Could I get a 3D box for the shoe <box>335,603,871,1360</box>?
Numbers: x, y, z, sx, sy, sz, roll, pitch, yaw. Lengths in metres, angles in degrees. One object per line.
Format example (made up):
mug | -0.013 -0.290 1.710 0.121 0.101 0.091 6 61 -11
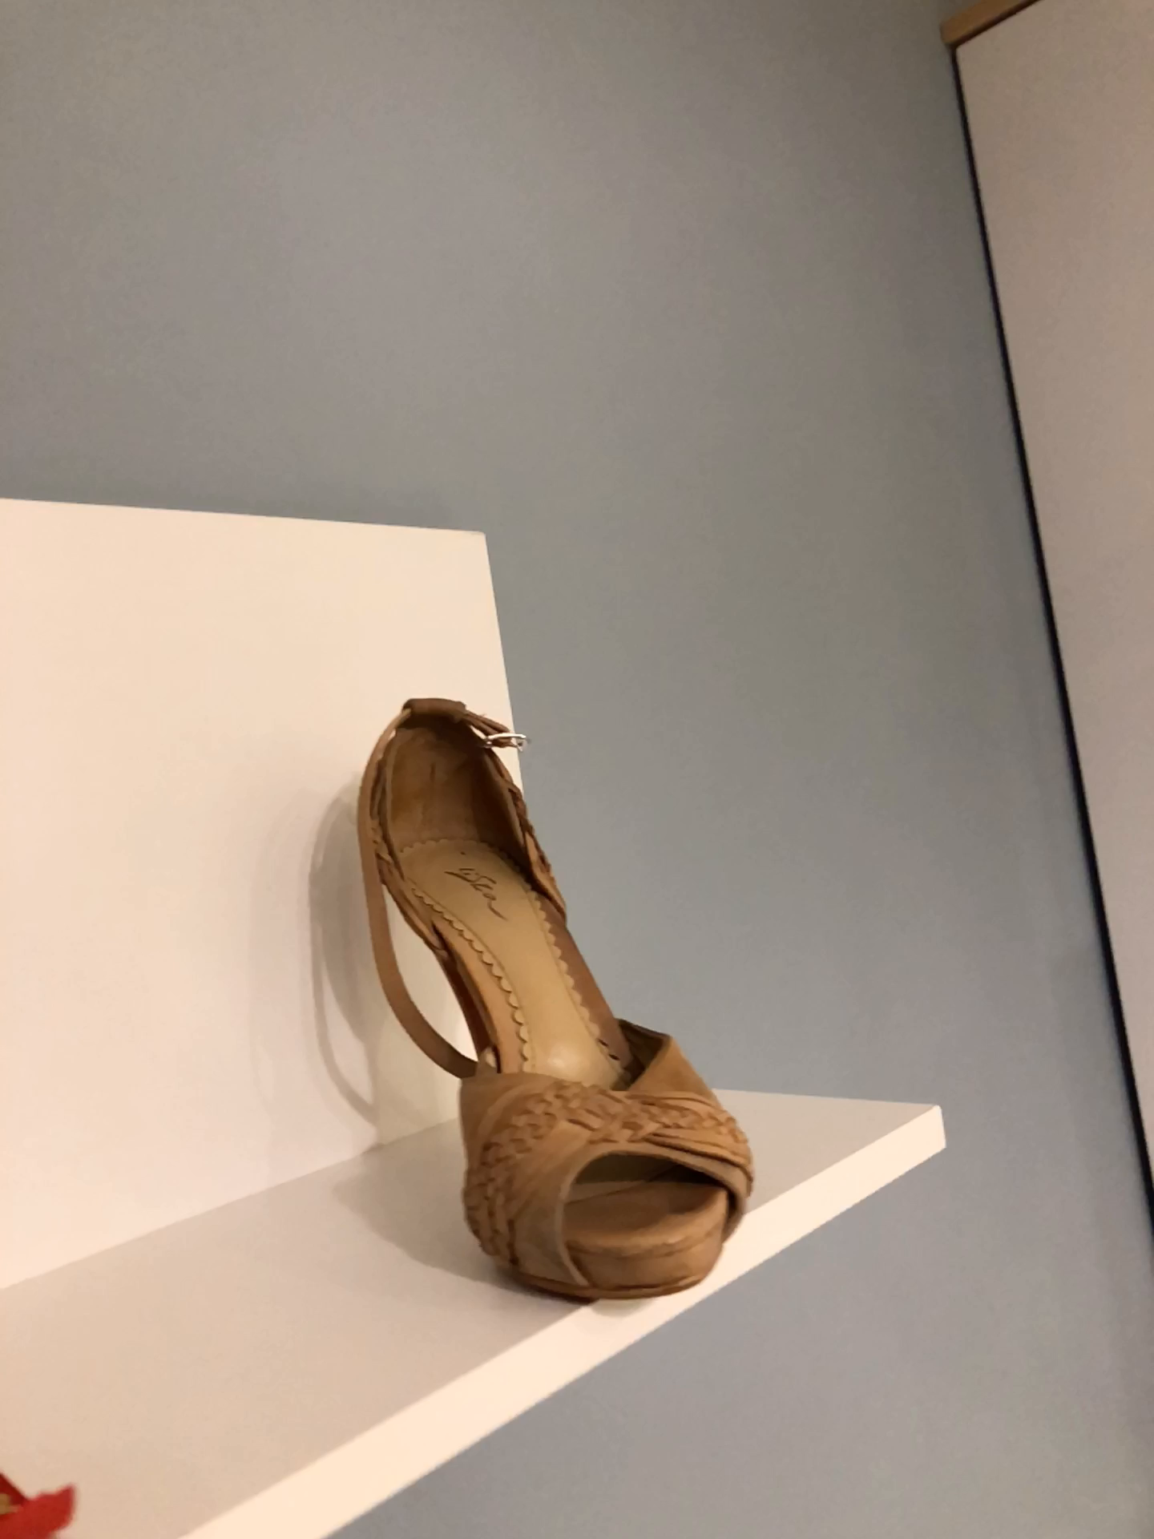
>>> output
shoe | -0.011 0.058 0.431 0.100 0.180 0.210 -7 -3 -16
